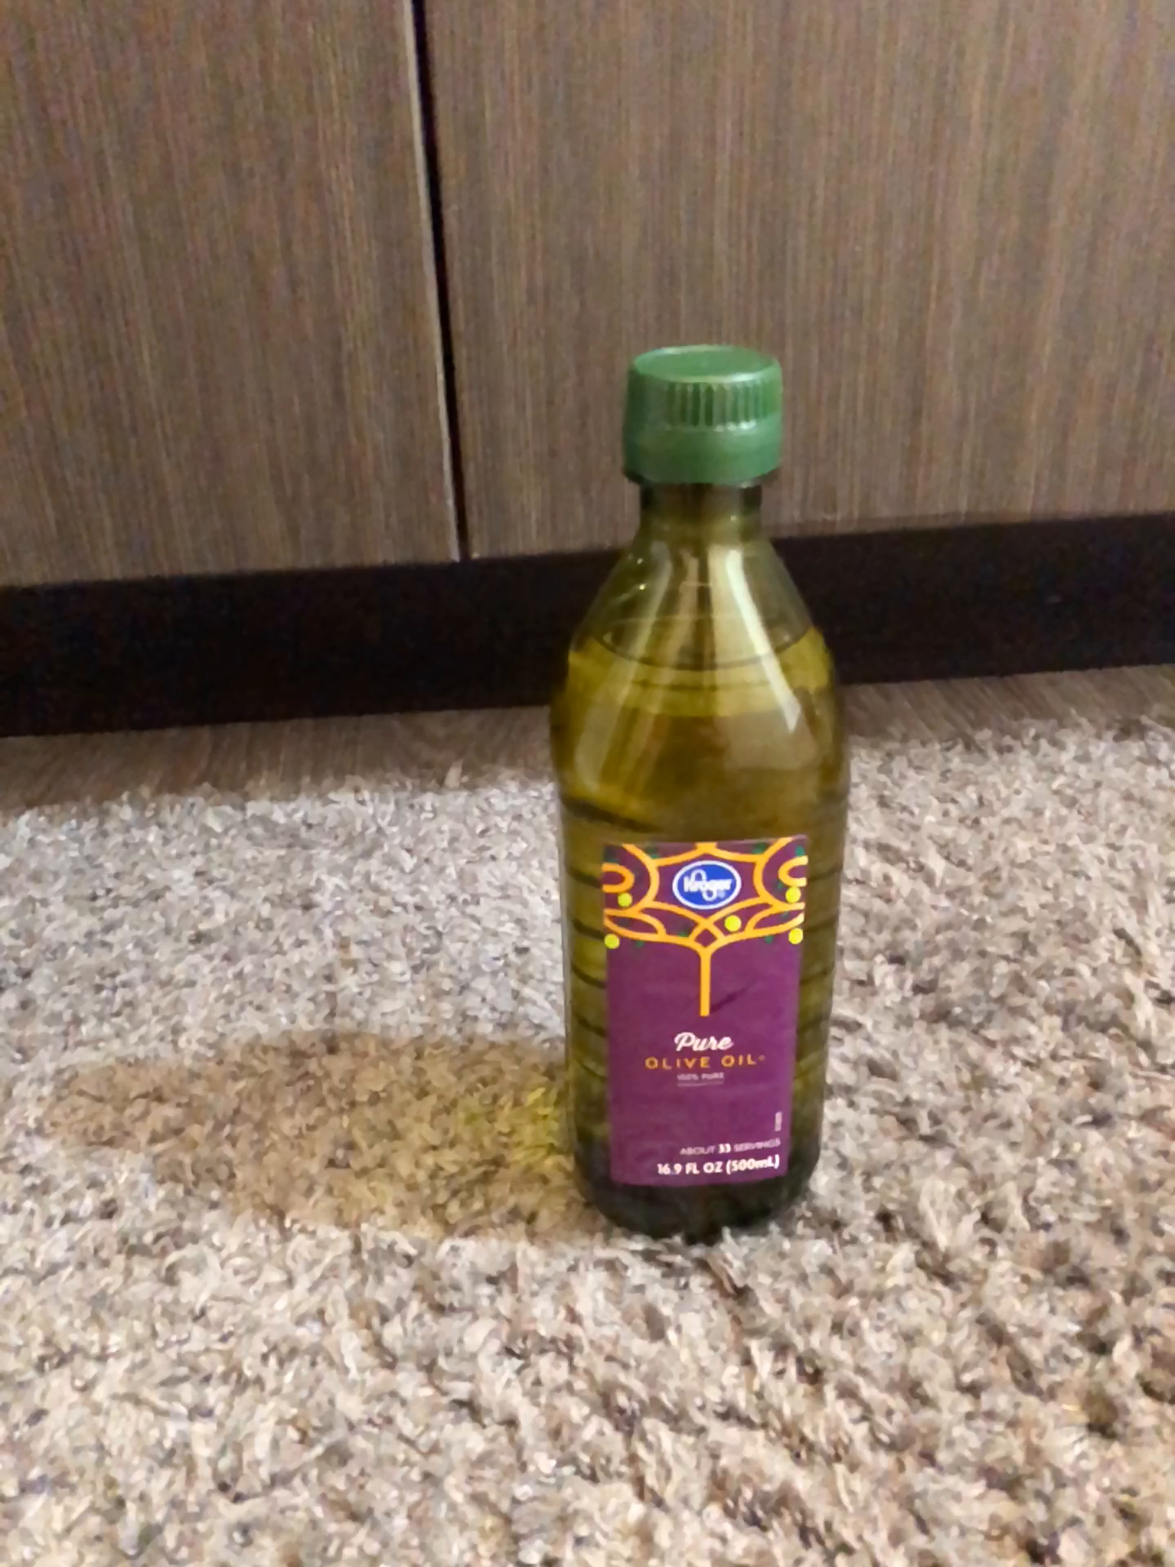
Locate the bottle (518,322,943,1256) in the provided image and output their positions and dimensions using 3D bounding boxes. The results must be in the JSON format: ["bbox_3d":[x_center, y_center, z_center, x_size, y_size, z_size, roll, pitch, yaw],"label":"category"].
[{"bbox_3d":[0.028,0.011,0.295,0.070,0.209,0.060,0,31,4],"label":"bottle"}]
